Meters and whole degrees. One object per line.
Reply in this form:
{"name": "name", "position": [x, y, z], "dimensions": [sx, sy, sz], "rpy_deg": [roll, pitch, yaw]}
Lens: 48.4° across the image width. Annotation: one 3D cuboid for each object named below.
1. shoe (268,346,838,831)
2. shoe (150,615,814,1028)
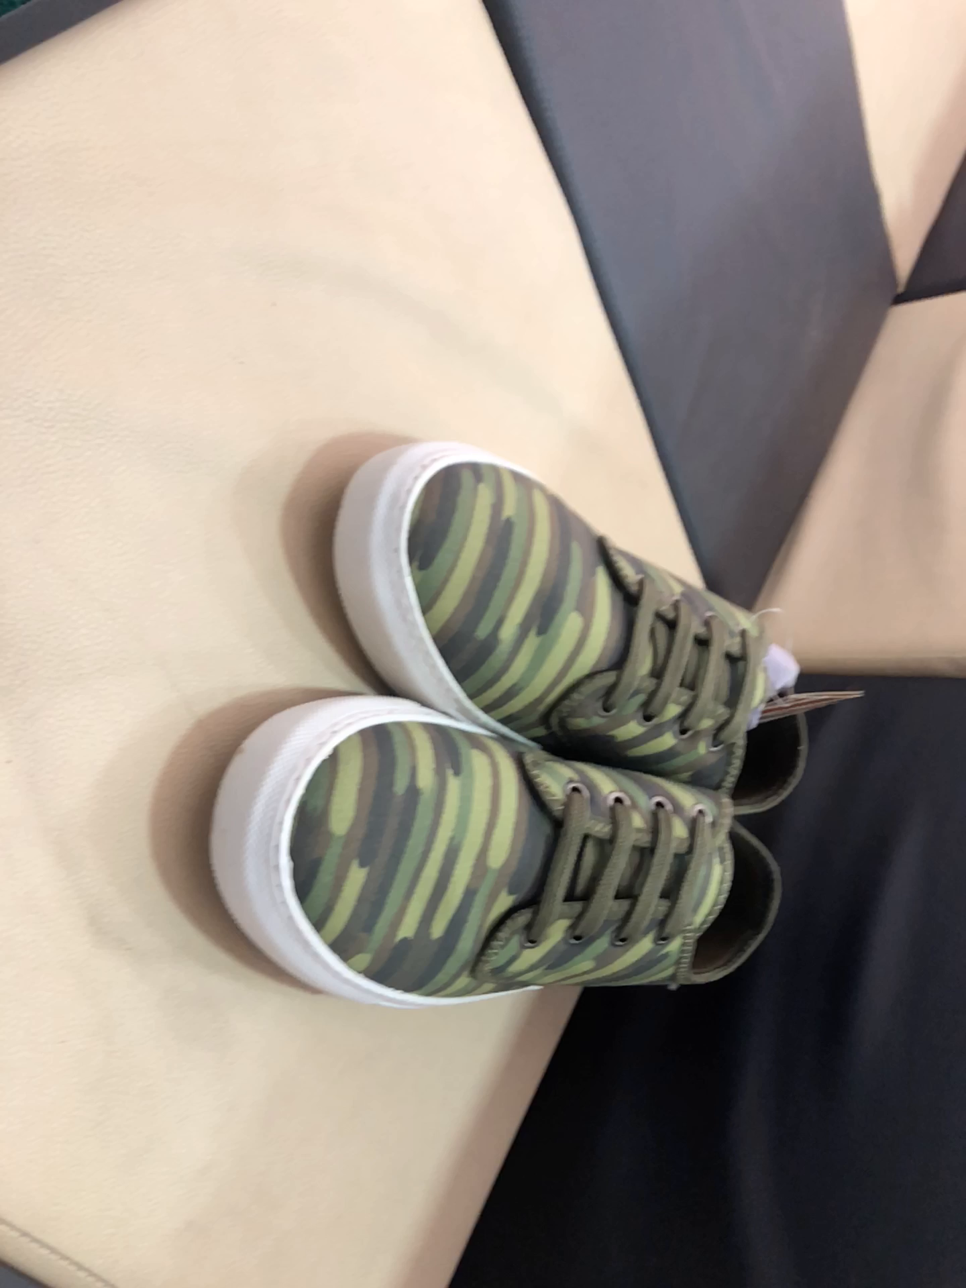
{"name": "shoe", "position": [0.059, 0.000, 0.467], "dimensions": [0.312, 0.079, 0.100], "rpy_deg": [28, 70, -50]}
{"name": "shoe", "position": [0.033, 0.086, 0.424], "dimensions": [0.312, 0.079, 0.100], "rpy_deg": [28, 70, -50]}
